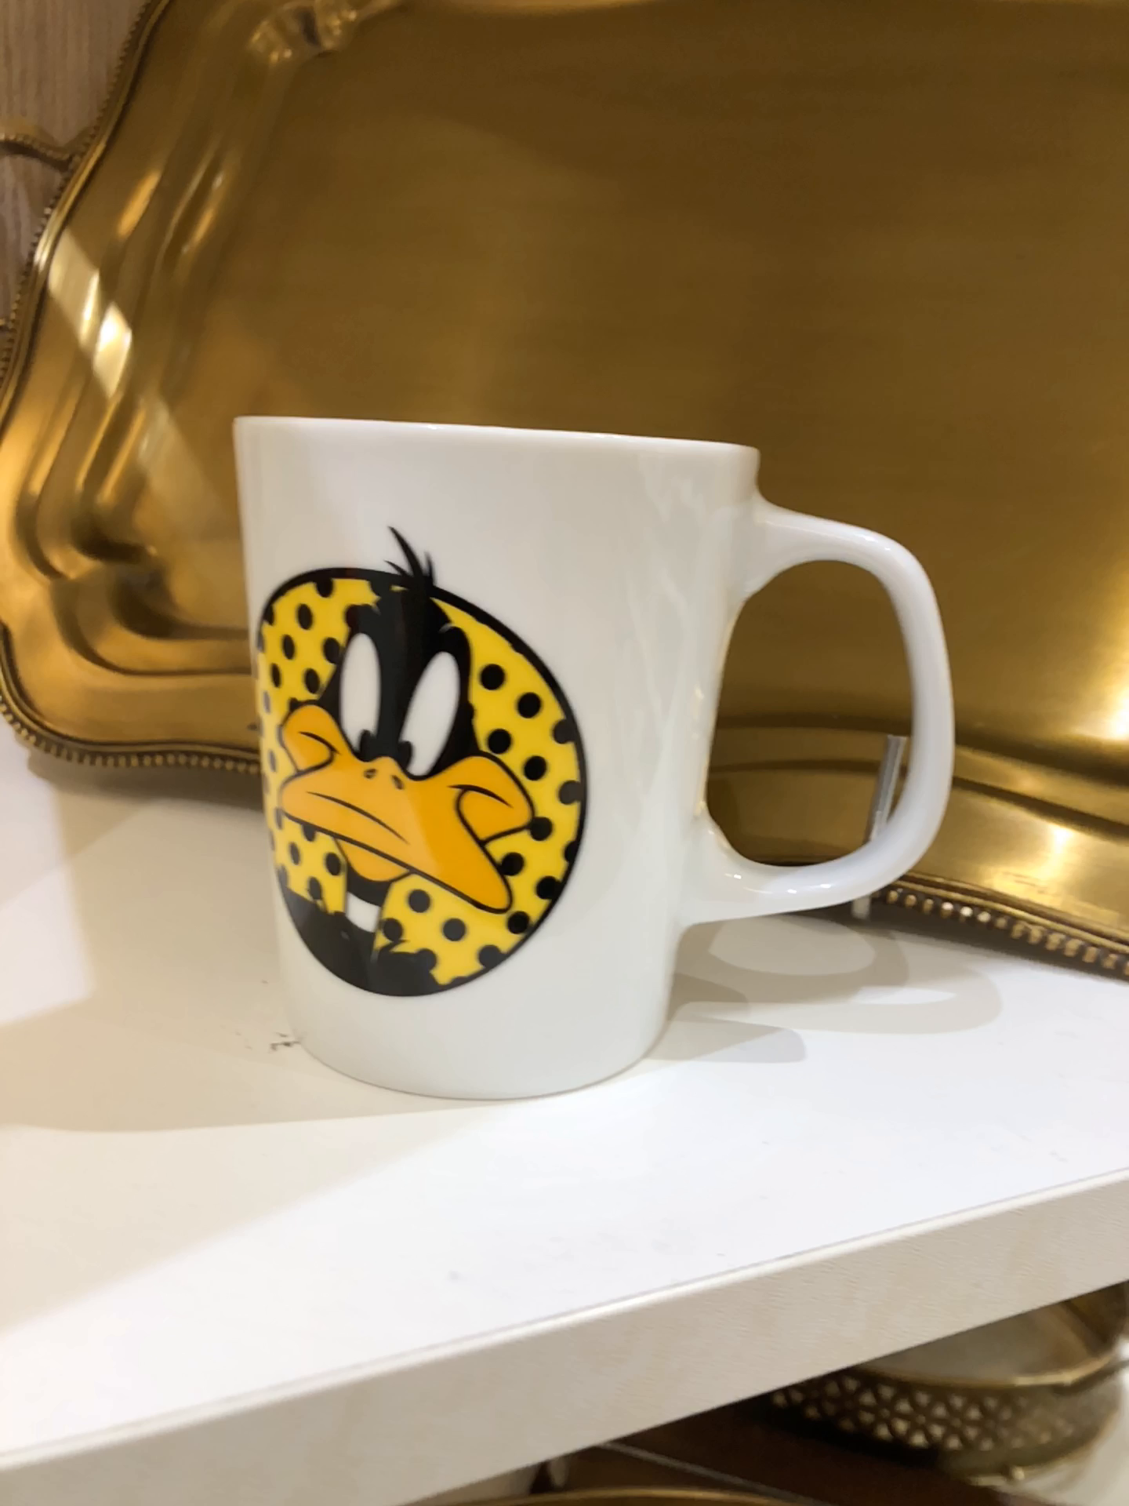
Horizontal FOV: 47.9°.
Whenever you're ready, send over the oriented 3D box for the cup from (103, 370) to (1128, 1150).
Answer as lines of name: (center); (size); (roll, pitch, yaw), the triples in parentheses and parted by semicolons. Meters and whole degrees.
cup: (0.006, -0.007, 0.199); (0.120, 0.090, 0.090); (4, 13, 2)
